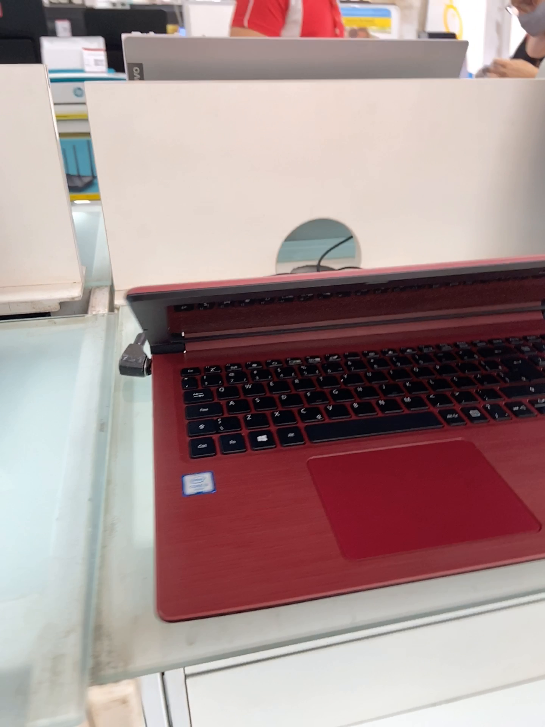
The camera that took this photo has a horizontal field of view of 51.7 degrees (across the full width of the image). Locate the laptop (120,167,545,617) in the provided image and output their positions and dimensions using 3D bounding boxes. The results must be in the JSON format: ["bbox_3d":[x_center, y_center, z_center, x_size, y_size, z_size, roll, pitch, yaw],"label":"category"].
[{"bbox_3d":[0.113,-0.025,0.348,0.380,0.132,0.237,-6,29,-11],"label":"laptop"}]
